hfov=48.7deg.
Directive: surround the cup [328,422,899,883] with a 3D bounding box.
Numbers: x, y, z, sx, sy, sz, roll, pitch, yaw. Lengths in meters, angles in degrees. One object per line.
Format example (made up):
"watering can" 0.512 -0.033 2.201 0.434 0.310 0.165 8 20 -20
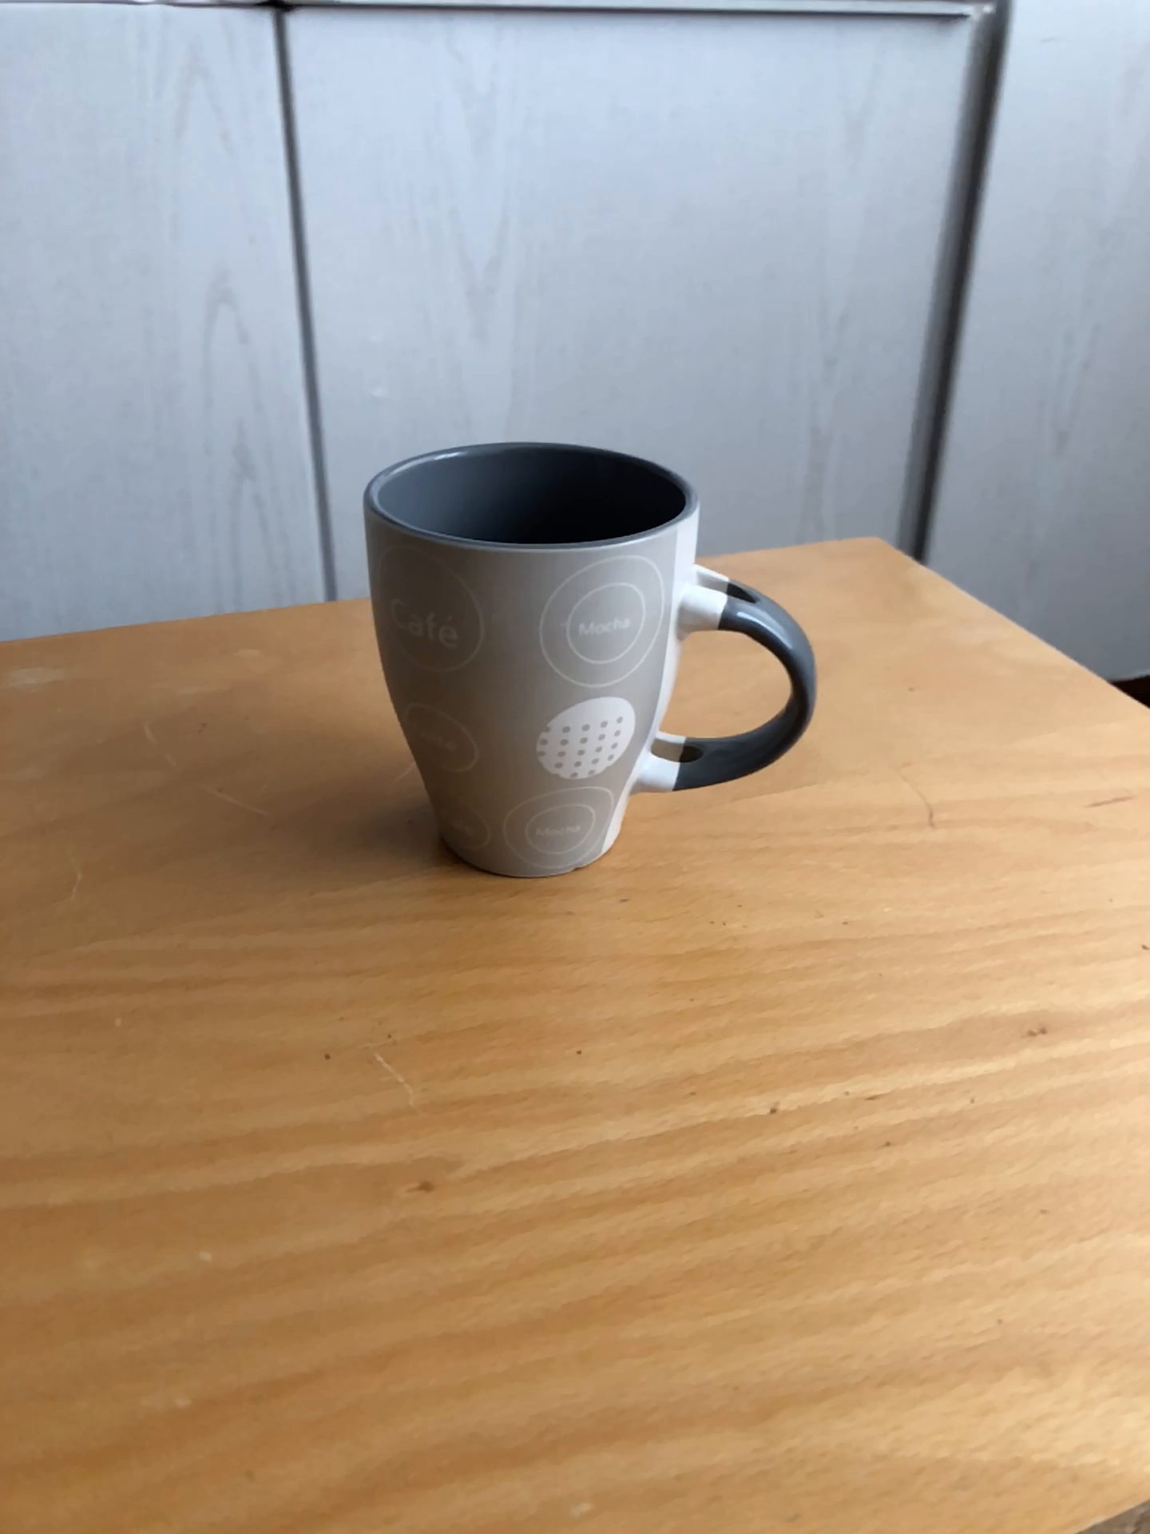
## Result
"cup" 0.008 -0.033 0.341 0.126 0.093 0.085 1 30 0
